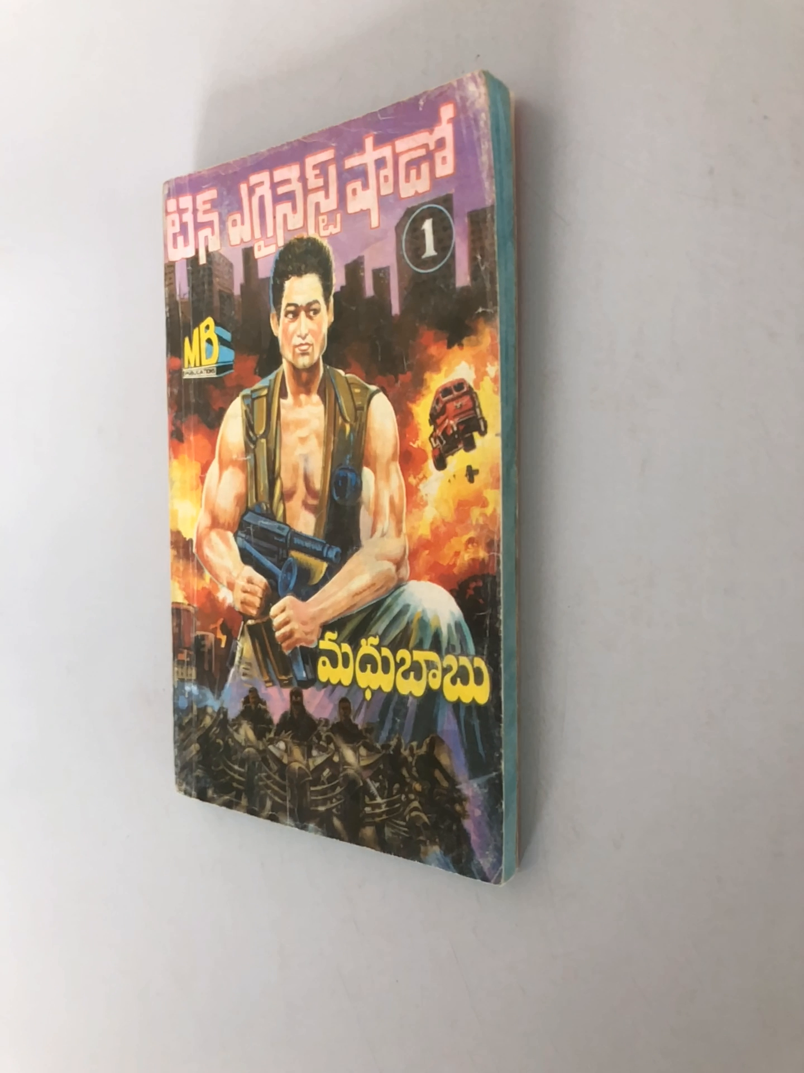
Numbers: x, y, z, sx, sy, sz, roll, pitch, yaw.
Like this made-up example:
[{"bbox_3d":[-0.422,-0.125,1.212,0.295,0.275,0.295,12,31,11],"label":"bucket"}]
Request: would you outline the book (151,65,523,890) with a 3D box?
[{"bbox_3d":[-0.020,-0.011,0.200,0.100,0.010,0.151,1,92,38],"label":"book"}]
